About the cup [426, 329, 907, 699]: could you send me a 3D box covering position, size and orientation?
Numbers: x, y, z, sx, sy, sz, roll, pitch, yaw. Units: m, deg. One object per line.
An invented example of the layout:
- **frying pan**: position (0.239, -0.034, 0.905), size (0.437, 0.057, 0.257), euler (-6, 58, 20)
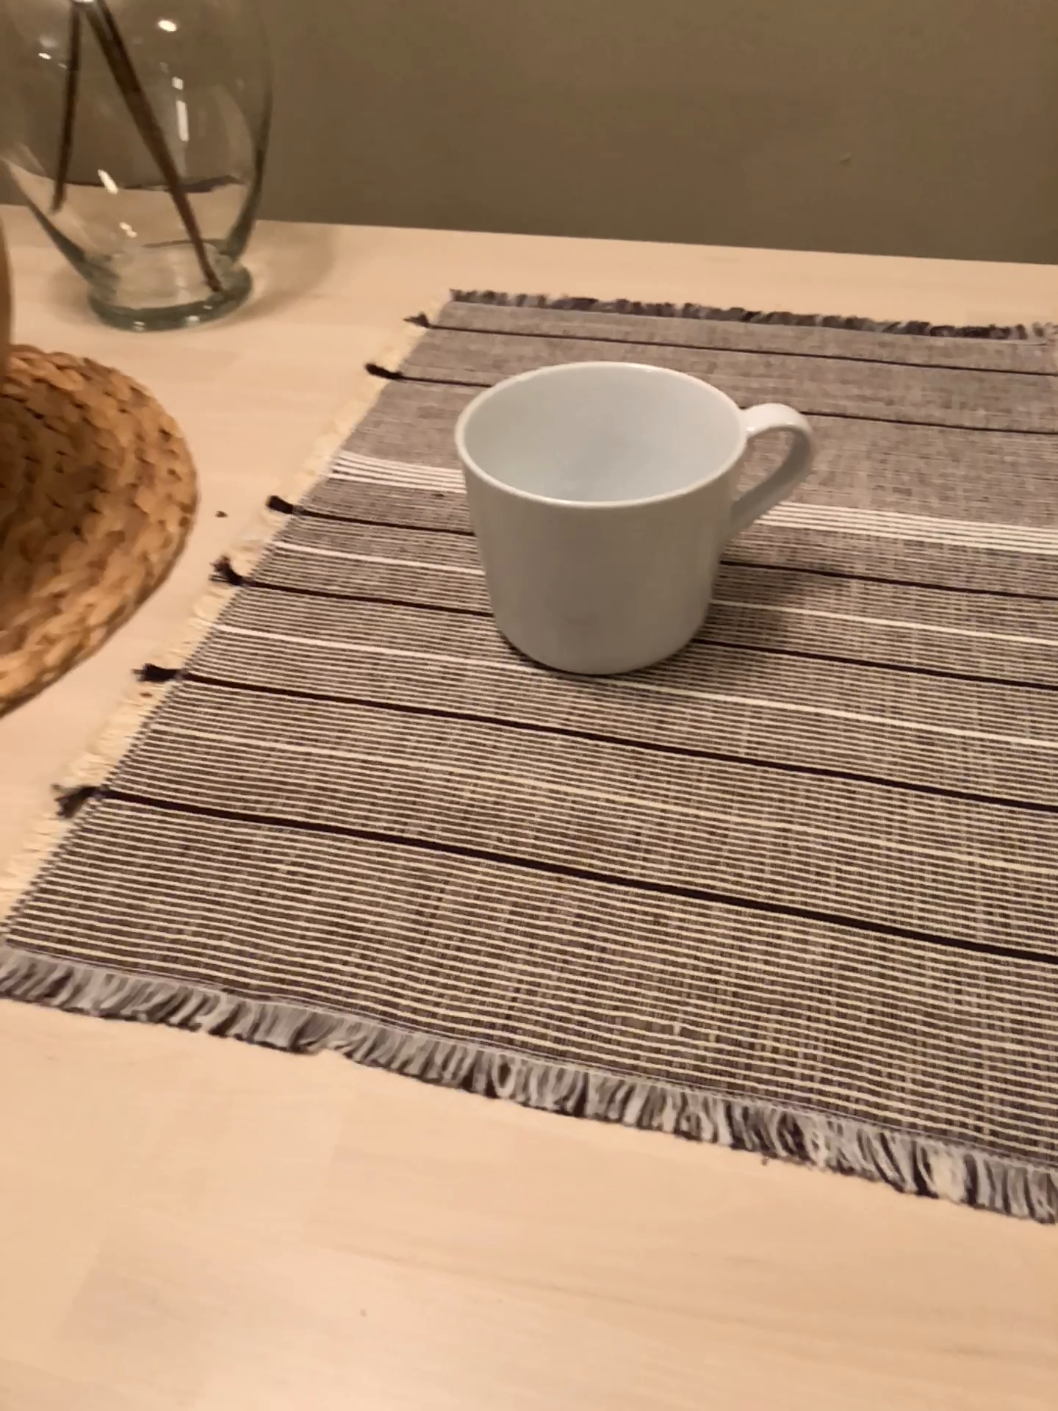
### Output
- **cup**: position (0.044, -0.075, 0.430), size (0.140, 0.070, 0.101), euler (-12, 42, -10)
